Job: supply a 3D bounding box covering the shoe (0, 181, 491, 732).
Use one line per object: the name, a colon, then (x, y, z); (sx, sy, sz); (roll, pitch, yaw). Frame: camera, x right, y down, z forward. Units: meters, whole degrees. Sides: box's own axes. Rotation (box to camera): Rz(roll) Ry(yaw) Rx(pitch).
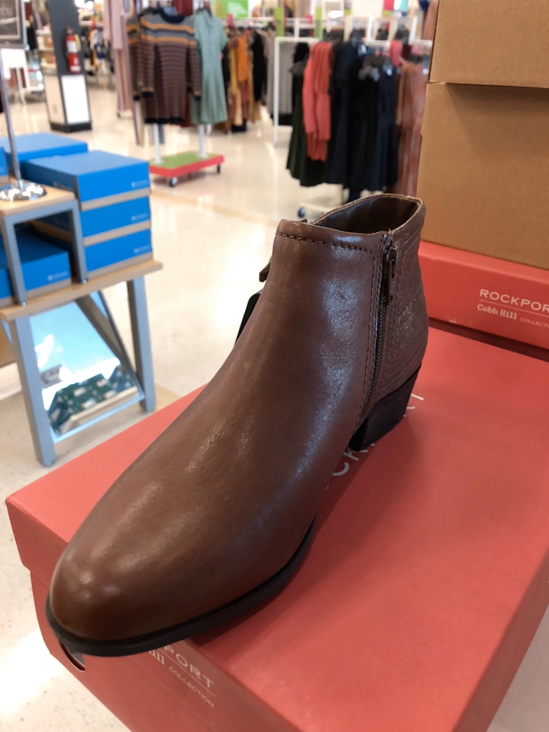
shoe: (-0.001, 0.004, 0.293); (0.101, 0.119, 0.282); (19, 34, 29)
